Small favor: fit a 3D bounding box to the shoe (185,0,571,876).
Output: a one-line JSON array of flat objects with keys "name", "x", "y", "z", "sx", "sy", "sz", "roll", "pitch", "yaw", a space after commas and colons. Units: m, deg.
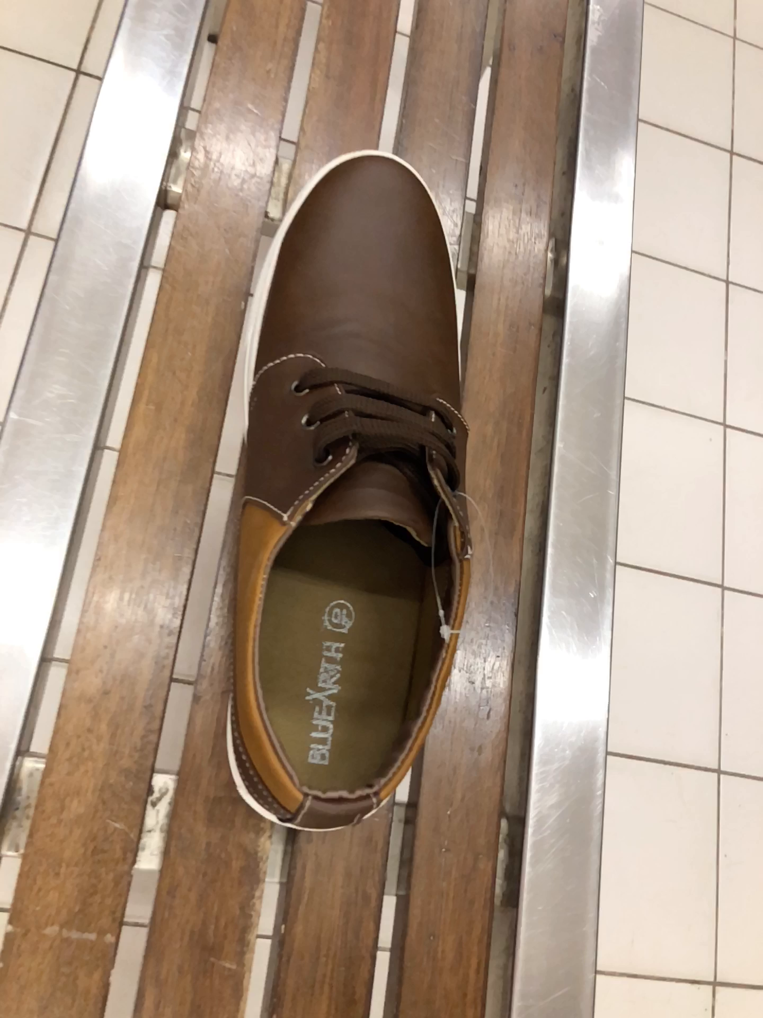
[{"name": "shoe", "x": 0.000, "y": -0.029, "z": 0.343, "sx": 0.109, "sy": 0.114, "sz": 0.312, "roll": 9, "pitch": 73, "yaw": -14}]
